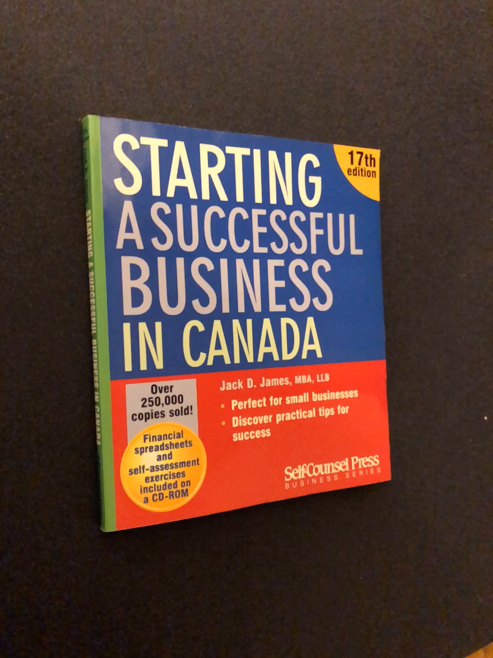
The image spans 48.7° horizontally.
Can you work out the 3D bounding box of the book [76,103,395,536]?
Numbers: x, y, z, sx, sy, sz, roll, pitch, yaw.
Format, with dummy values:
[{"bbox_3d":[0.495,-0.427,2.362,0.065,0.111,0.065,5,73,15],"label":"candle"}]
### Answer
[{"bbox_3d":[-0.001,-0.008,0.371,0.210,0.040,0.247,-2,89,-24],"label":"book"}]
